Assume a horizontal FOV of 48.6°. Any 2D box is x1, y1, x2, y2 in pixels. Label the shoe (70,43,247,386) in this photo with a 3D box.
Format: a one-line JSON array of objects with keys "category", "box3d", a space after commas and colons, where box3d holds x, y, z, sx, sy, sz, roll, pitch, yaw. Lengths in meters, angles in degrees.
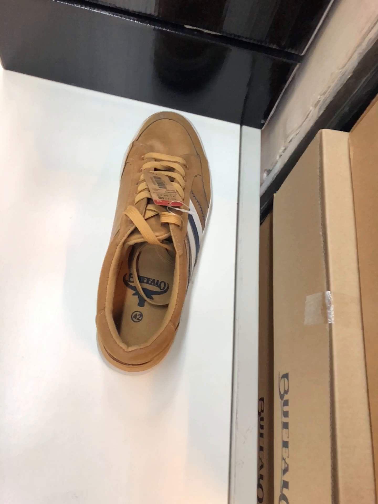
[{"category": "shoe", "box3d": [-0.022, -0.035, 0.398, 0.105, 0.104, 0.295, 11, 68, -7]}]
